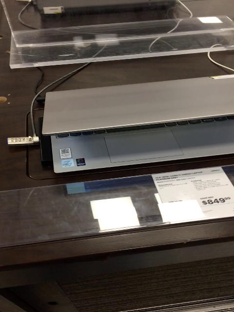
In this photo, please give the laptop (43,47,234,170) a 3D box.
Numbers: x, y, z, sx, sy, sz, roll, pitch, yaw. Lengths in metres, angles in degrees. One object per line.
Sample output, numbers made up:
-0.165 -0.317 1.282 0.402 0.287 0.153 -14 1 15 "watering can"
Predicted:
0.071 -0.093 0.541 0.376 0.074 0.214 -7 47 -2 "laptop"
